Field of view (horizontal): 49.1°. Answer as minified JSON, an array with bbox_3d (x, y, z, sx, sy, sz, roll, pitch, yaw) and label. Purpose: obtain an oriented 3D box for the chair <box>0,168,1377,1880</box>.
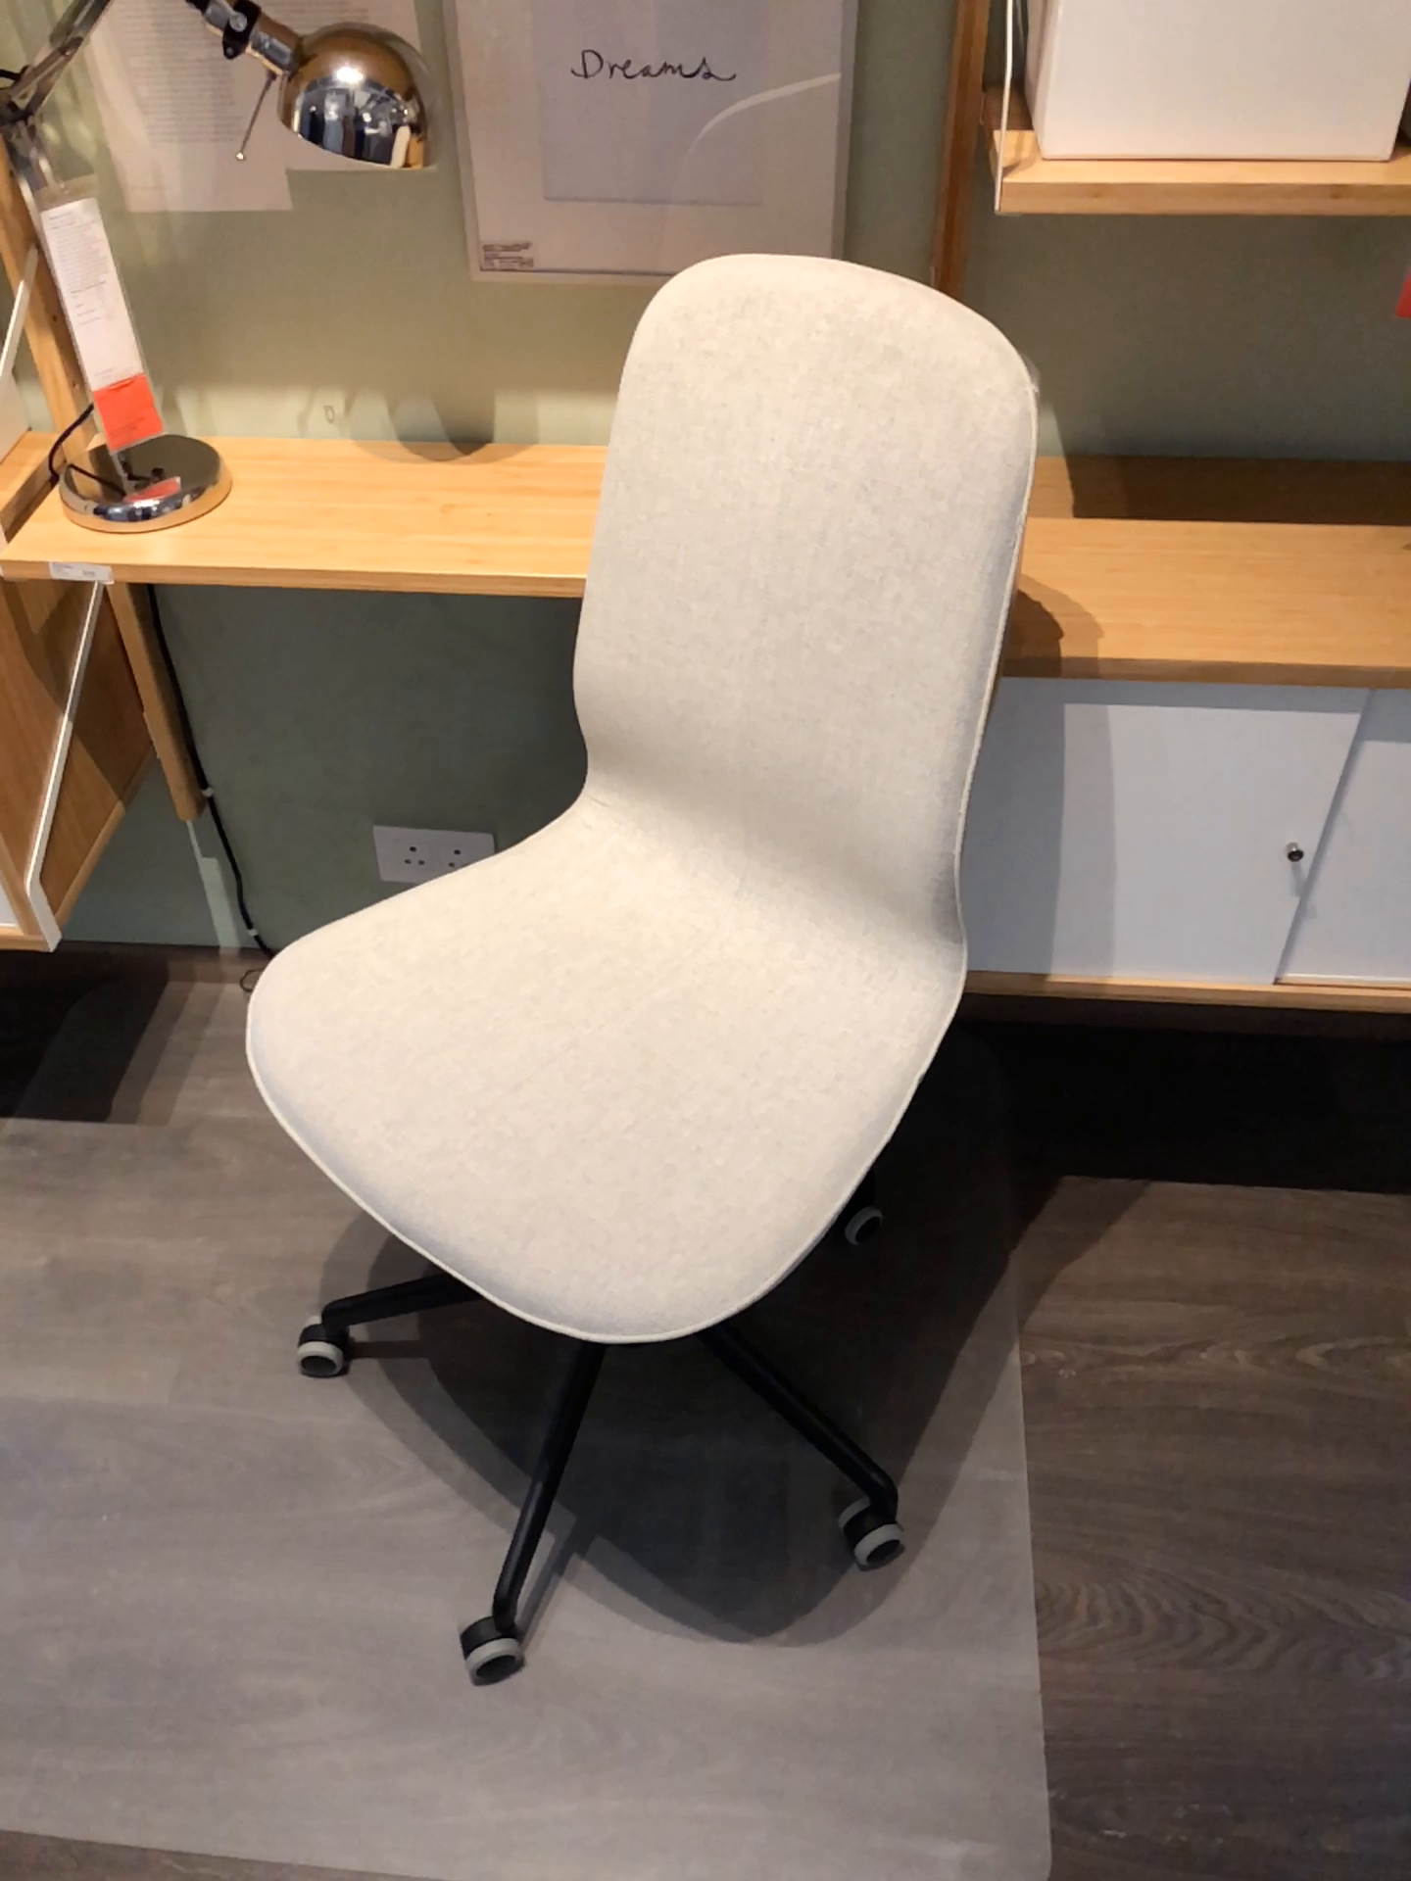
[{"bbox_3d":[-0.069,0.047,1.153,0.622,0.904,0.652,32,52,31],"label":"chair"}]
